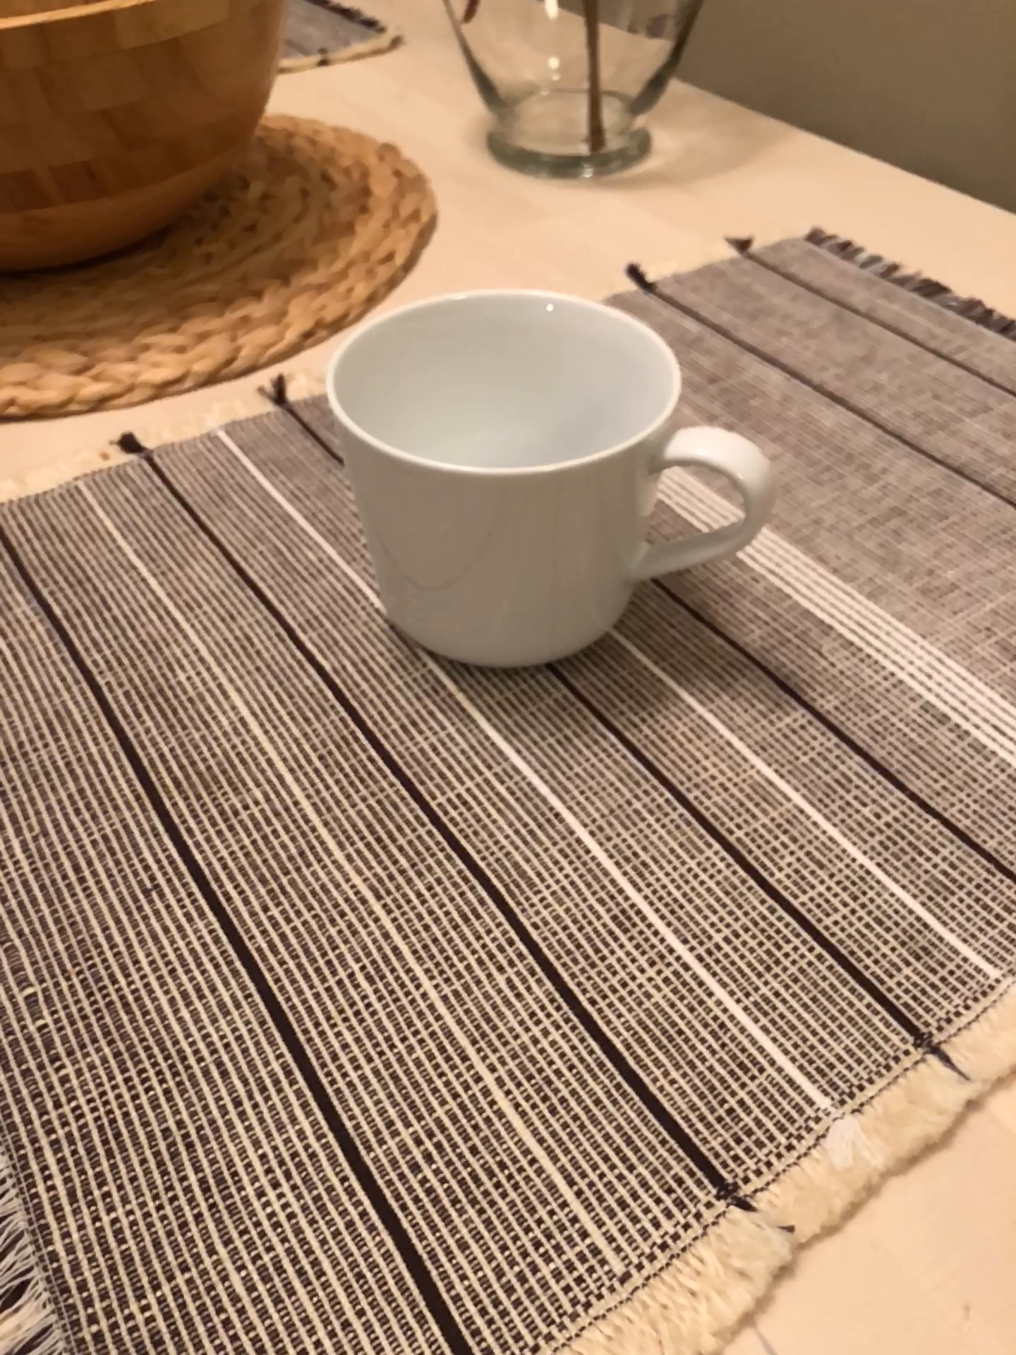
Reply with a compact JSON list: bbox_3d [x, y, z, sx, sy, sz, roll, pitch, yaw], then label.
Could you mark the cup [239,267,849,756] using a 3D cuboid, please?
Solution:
[{"bbox_3d":[0.013,-0.056,0.339,0.140,0.070,0.101,18,47,19],"label":"cup"}]
